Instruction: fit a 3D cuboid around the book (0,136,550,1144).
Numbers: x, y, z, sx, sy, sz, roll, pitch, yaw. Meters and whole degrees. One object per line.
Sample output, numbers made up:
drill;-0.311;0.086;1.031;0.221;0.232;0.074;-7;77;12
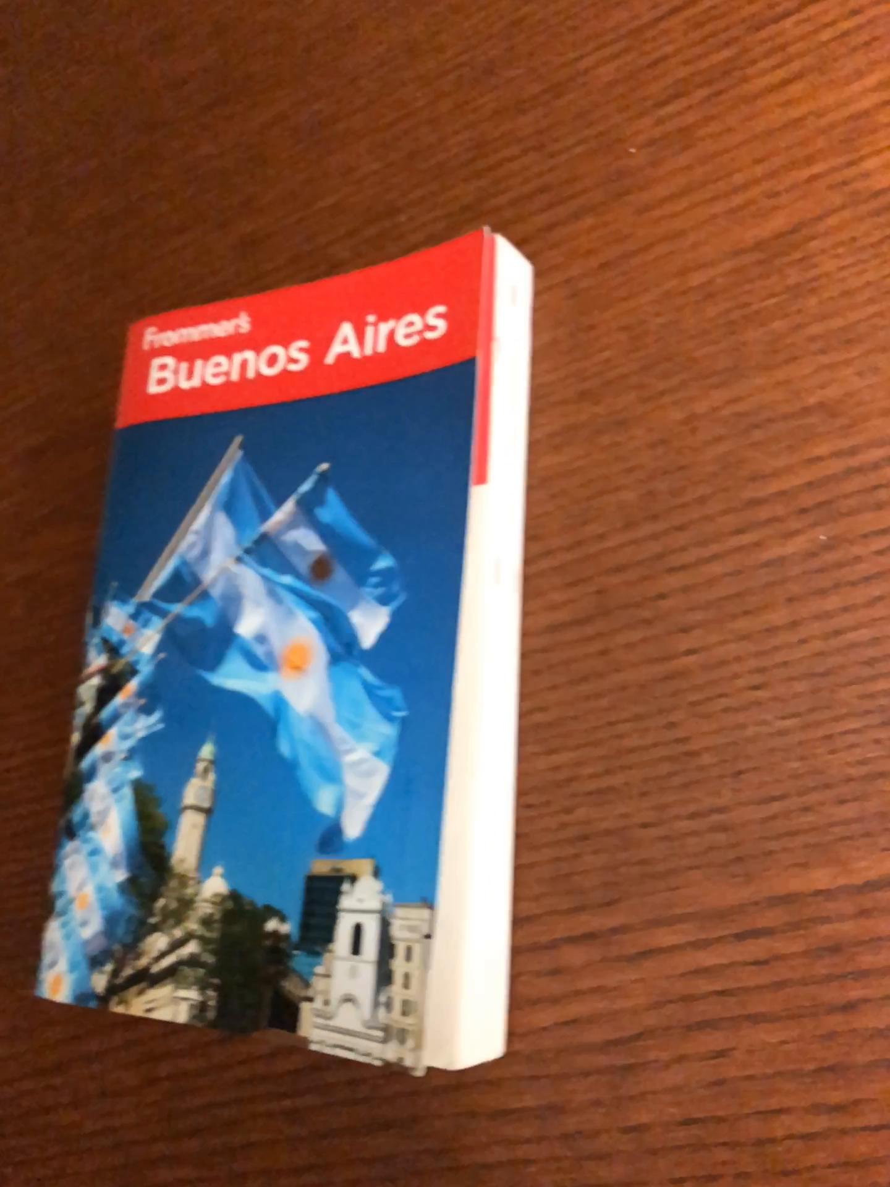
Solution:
book;-0.052;0.005;0.256;0.160;0.020;0.220;-6;73;26
